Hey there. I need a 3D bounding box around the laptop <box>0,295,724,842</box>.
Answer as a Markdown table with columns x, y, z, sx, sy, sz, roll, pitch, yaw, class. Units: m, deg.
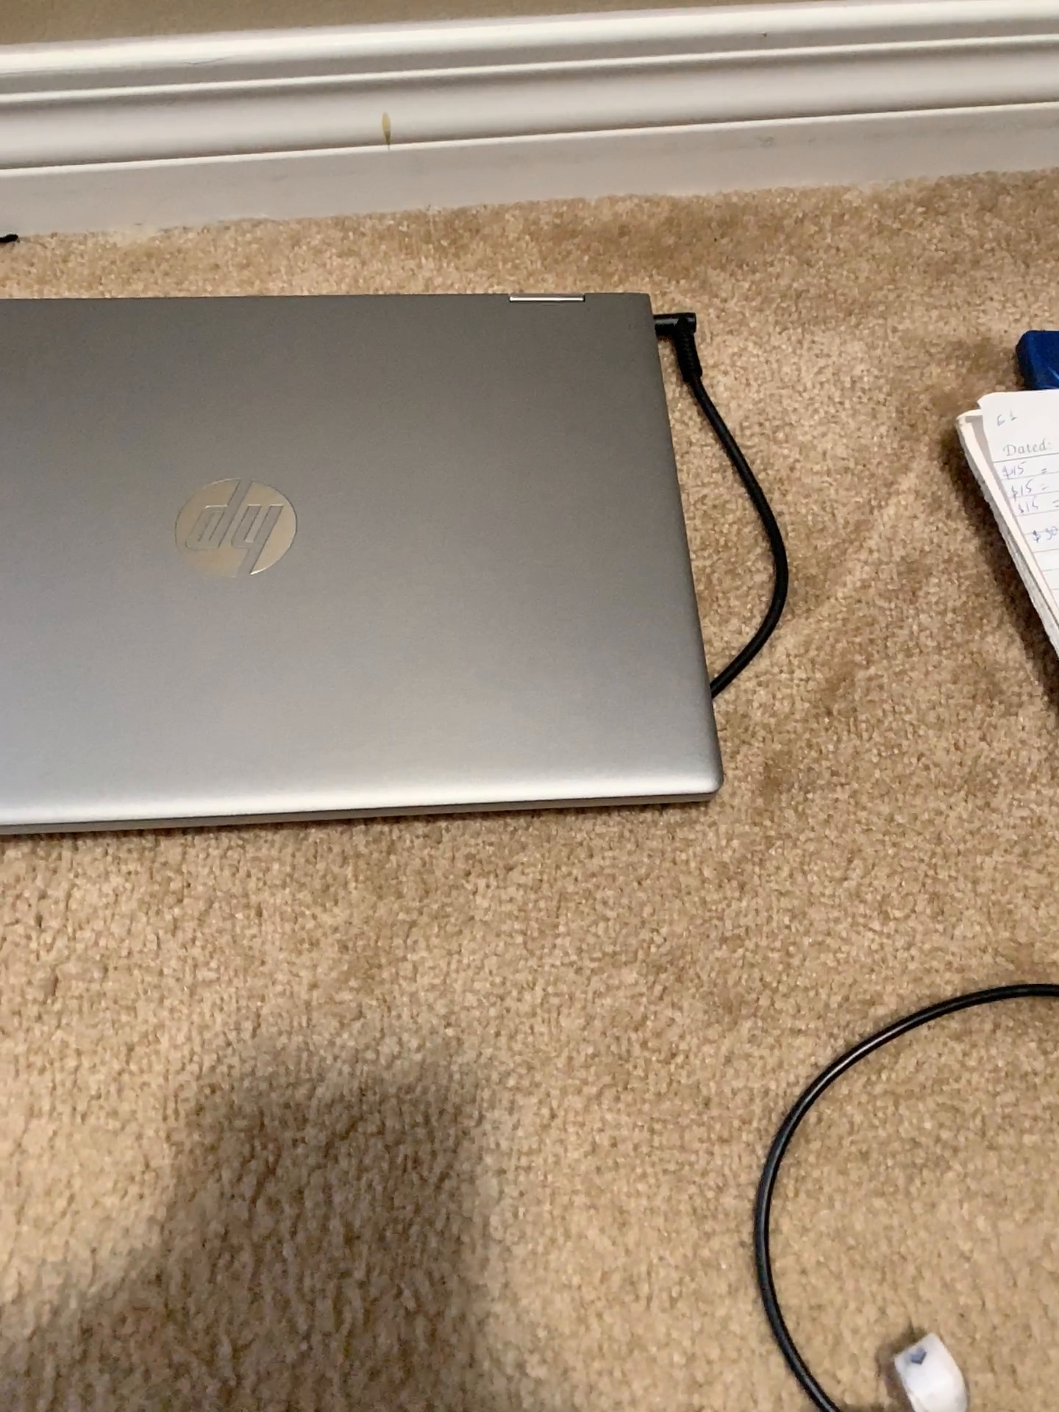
| x | y | z | sx | sy | sz | roll | pitch | yaw | class |
| --- | --- | --- | --- | --- | --- | --- | --- | --- | --- |
| -0.102 | -0.066 | 0.385 | 0.319 | 0.001 | 0.222 | -2 | 63 | -6 | laptop |
